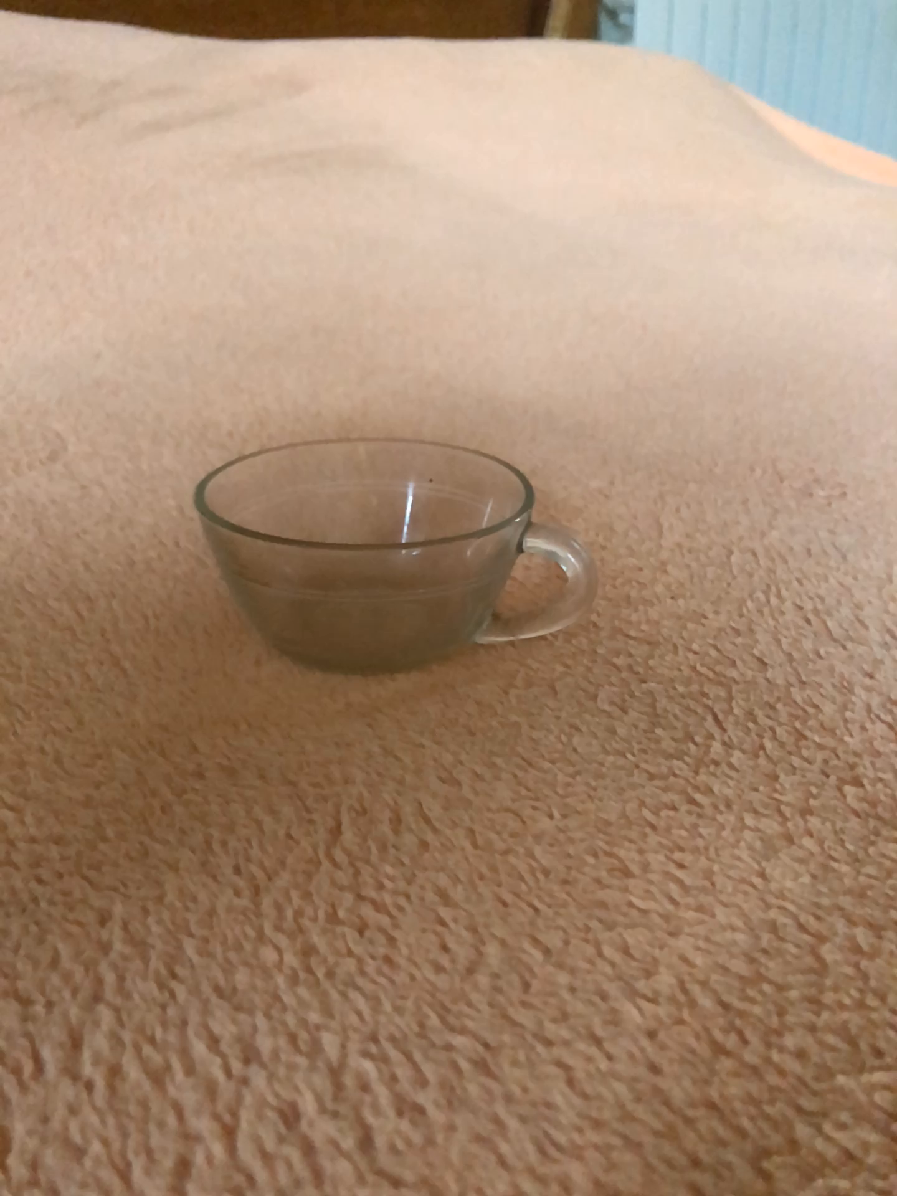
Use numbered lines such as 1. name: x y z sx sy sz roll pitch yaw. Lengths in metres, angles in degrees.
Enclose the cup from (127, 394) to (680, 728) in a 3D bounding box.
1. cup: -0.003 -0.017 0.249 0.110 0.040 0.091 6 27 15
